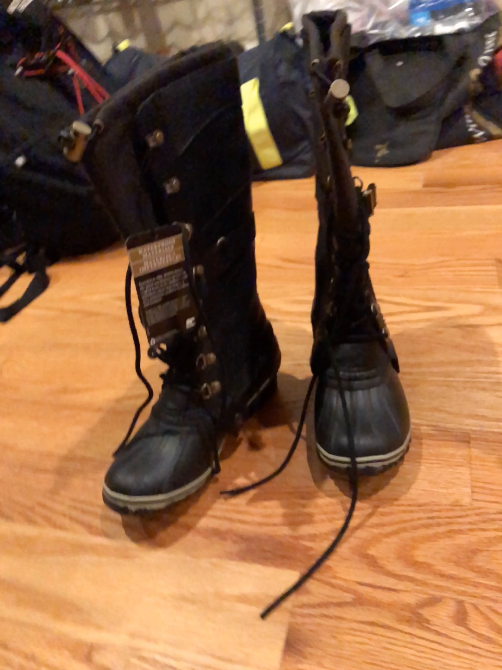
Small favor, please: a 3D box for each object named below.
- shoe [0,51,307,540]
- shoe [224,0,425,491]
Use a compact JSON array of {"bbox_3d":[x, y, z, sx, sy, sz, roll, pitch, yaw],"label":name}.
[{"bbox_3d":[-0.071,-0.040,0.475,0.100,0.308,0.261,13,41,30],"label":"shoe"},{"bbox_3d":[0.072,-0.080,0.476,0.100,0.328,0.261,-5,35,9],"label":"shoe"}]
